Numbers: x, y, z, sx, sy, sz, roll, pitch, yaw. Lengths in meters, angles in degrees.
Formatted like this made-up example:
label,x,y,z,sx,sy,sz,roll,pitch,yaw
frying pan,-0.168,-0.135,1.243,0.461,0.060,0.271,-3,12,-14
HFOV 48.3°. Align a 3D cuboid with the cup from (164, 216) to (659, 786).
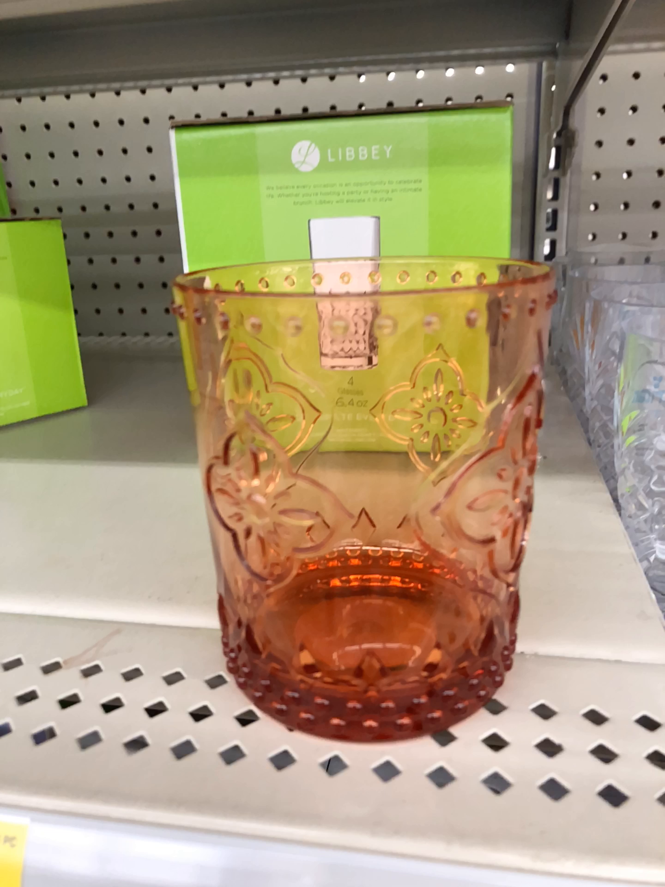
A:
label,x,y,z,sx,sy,sz,roll,pitch,yaw
cup,0.011,0.003,0.184,0.090,0.110,0.080,-5,18,-10
